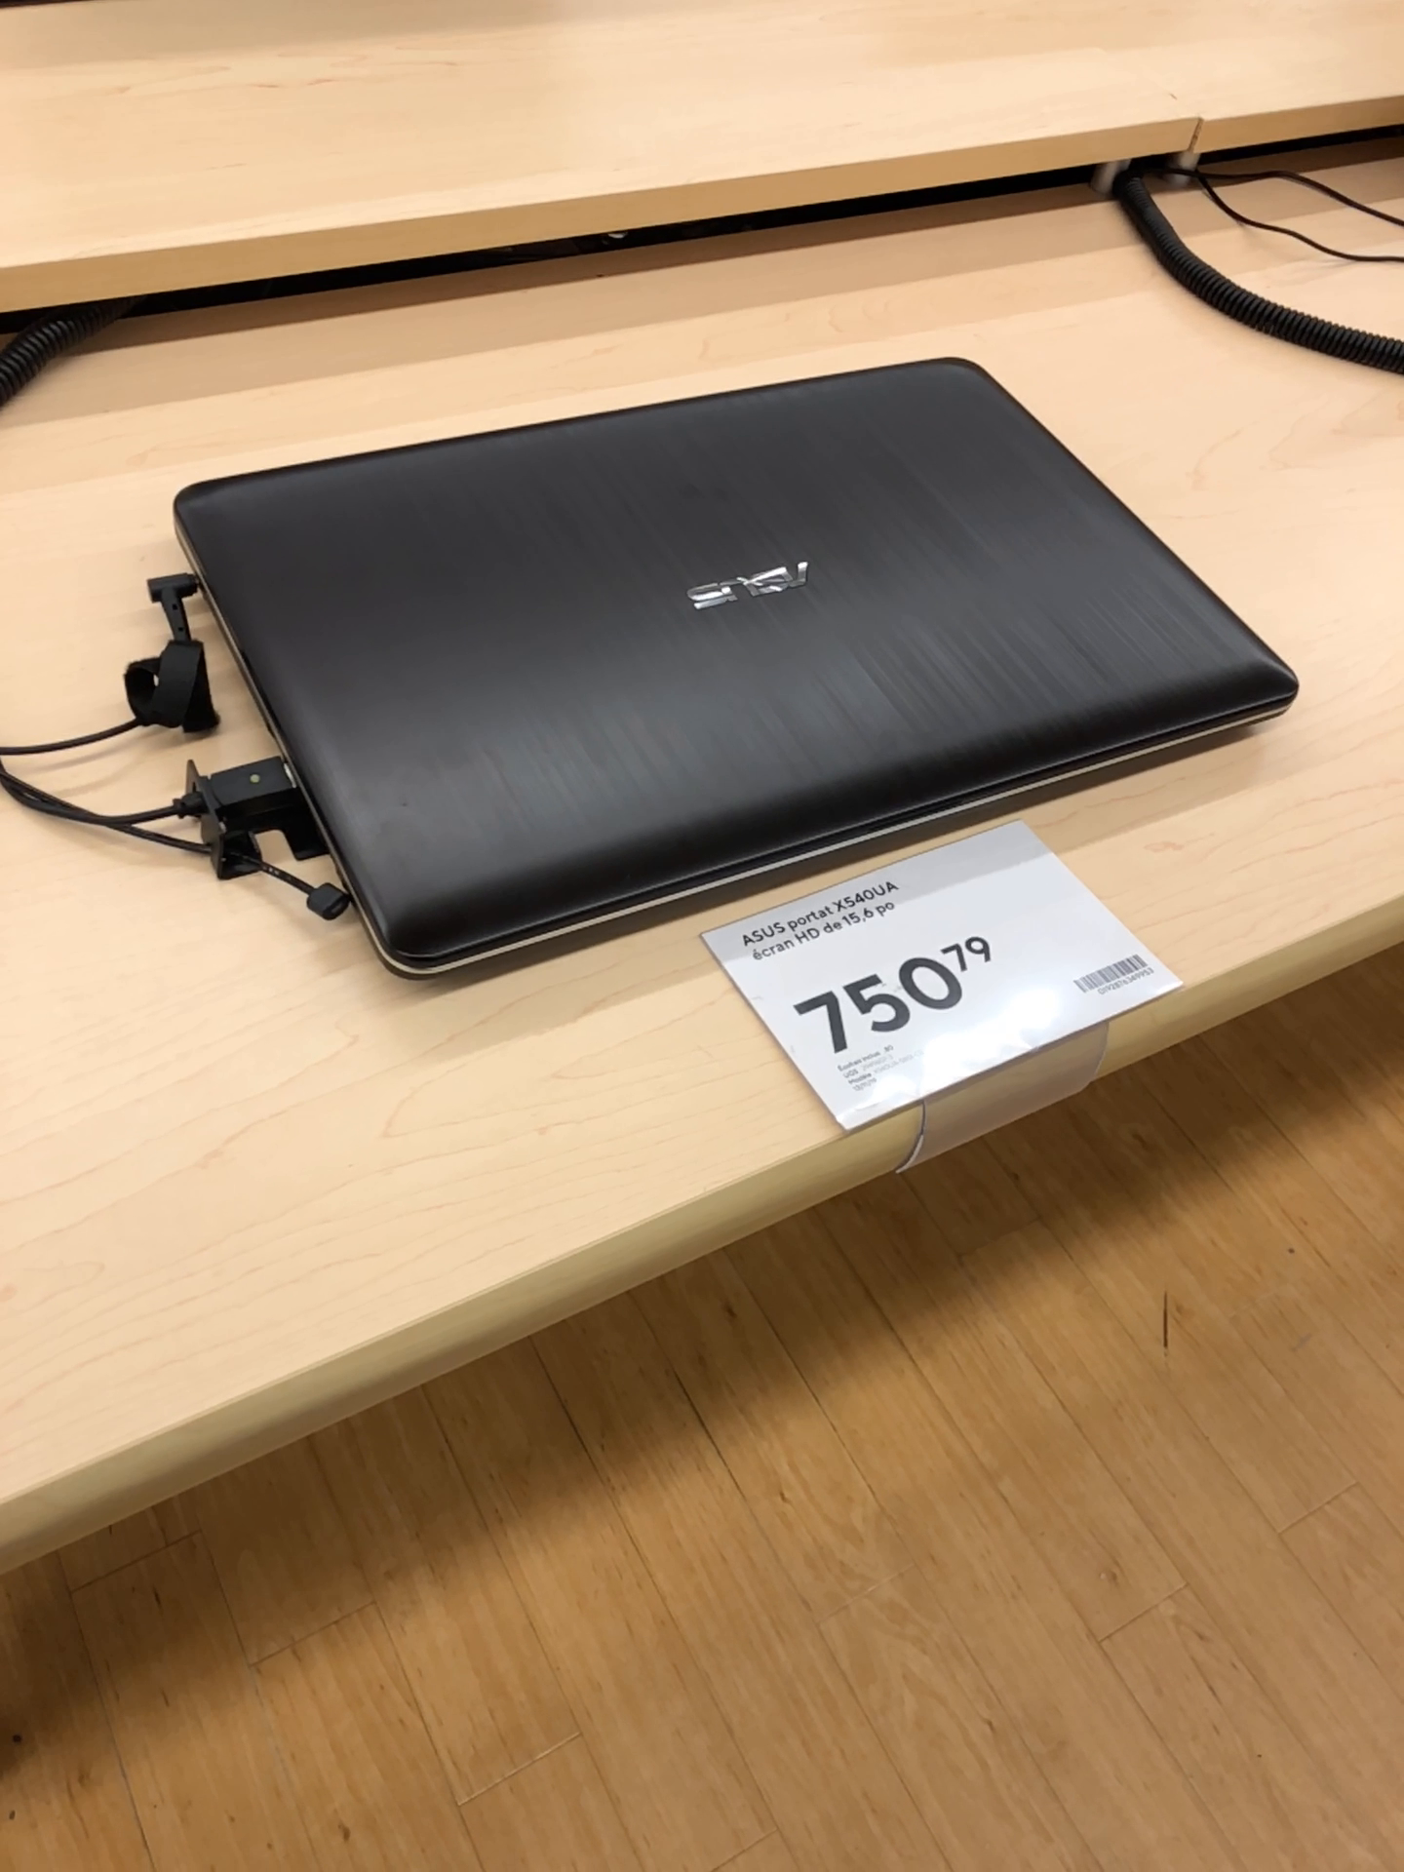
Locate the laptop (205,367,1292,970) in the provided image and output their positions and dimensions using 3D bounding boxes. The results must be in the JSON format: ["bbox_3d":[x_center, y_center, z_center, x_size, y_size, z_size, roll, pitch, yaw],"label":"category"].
[{"bbox_3d":[0.023,-0.129,0.604,0.370,0.010,0.228,-18,57,-23],"label":"laptop"}]
